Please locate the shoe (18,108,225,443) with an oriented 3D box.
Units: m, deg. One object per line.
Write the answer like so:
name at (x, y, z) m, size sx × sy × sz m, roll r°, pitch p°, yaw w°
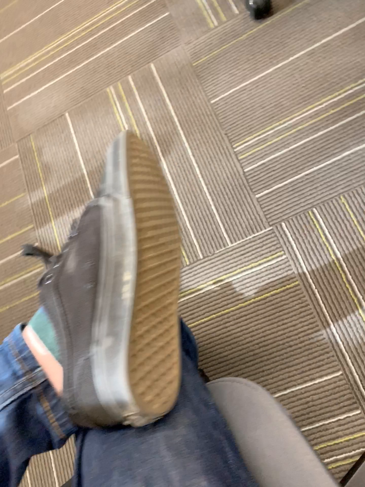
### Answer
shoe at (-0.064, 0.034, 0.367) m, size 0.135 × 0.119 × 0.260 m, roll -16°, pitch 71°, yaw 23°
